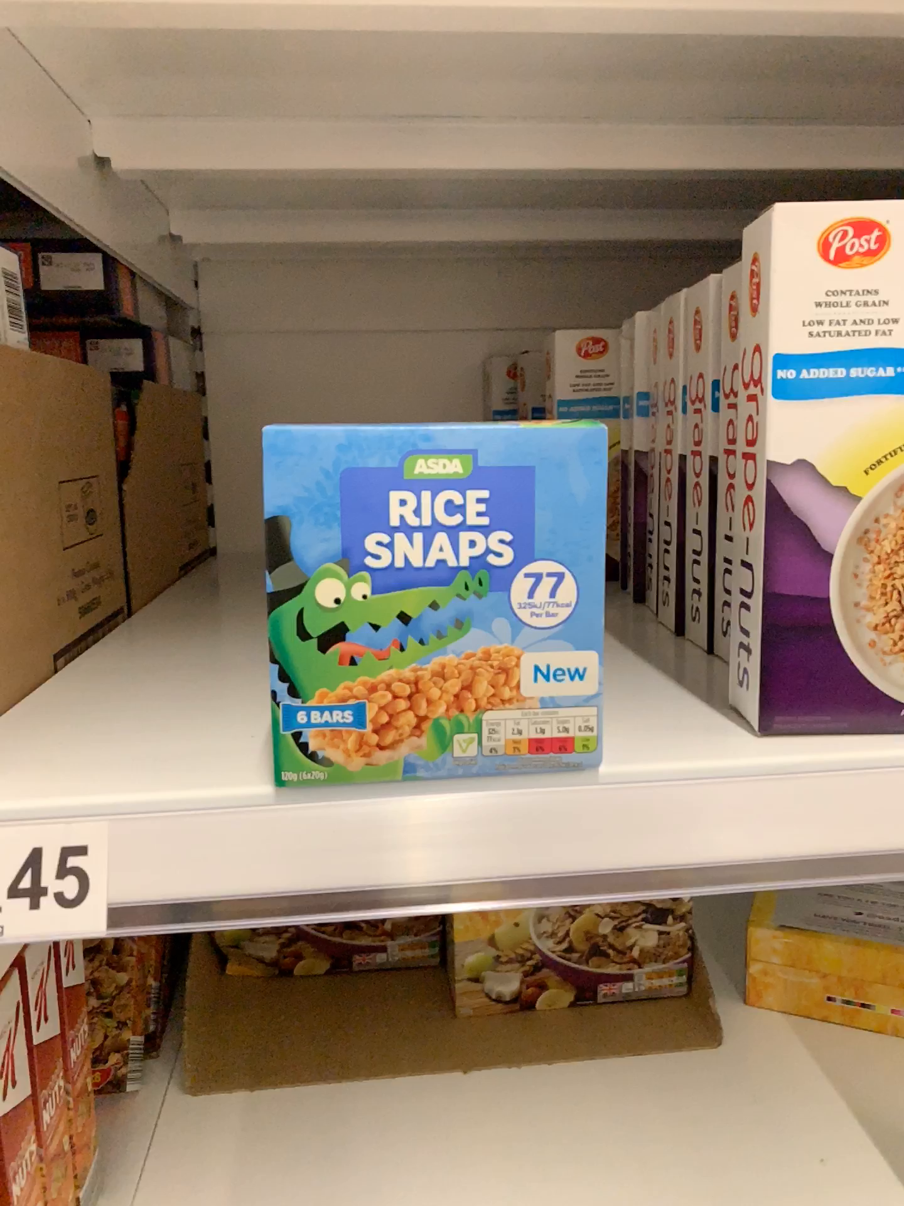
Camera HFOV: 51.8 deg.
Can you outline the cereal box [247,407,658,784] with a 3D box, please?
[{"bbox_3d":[-0.001,-0.007,0.350,0.140,0.130,0.050,-1,9,-7],"label":"cereal box"}]
